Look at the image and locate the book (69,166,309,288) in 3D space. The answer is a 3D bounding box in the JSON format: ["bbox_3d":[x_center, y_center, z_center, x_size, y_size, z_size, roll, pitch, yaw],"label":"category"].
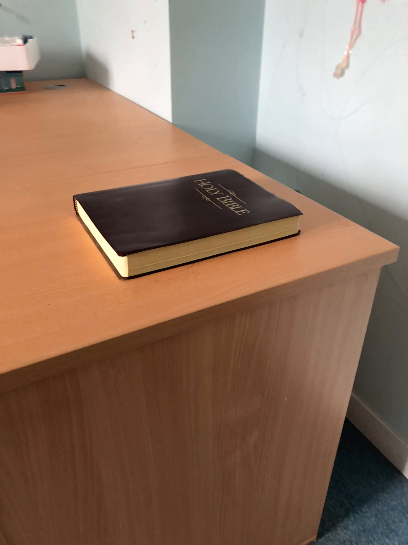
[{"bbox_3d":[-0.029,-0.085,0.660,0.281,0.040,0.224,-15,35,-23],"label":"book"}]
